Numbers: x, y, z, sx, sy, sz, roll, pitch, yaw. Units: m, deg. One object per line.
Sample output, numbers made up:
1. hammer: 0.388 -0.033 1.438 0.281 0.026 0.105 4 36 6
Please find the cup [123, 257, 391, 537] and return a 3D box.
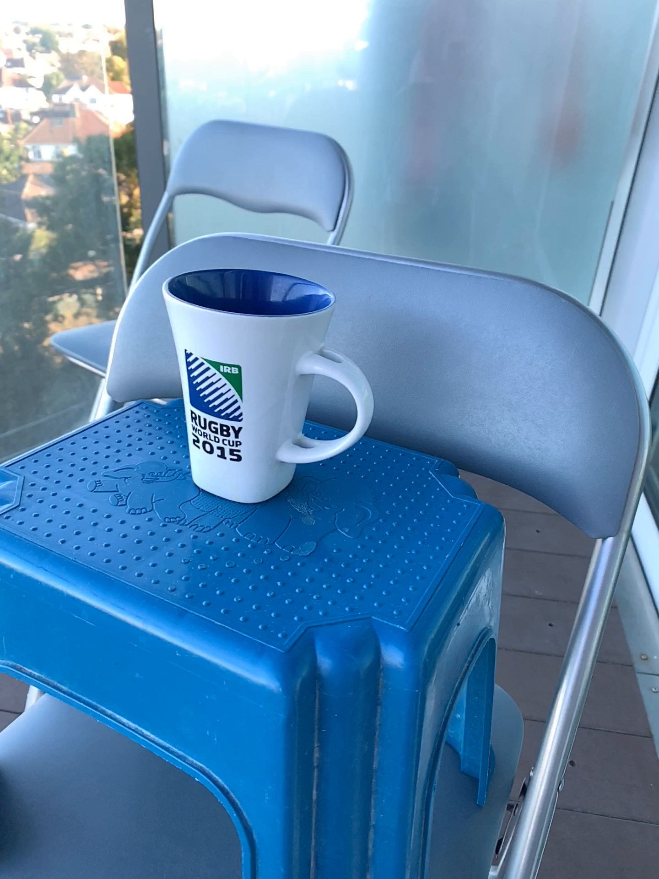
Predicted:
1. cup: -0.037 -0.029 0.367 0.107 0.105 0.083 16 31 22
